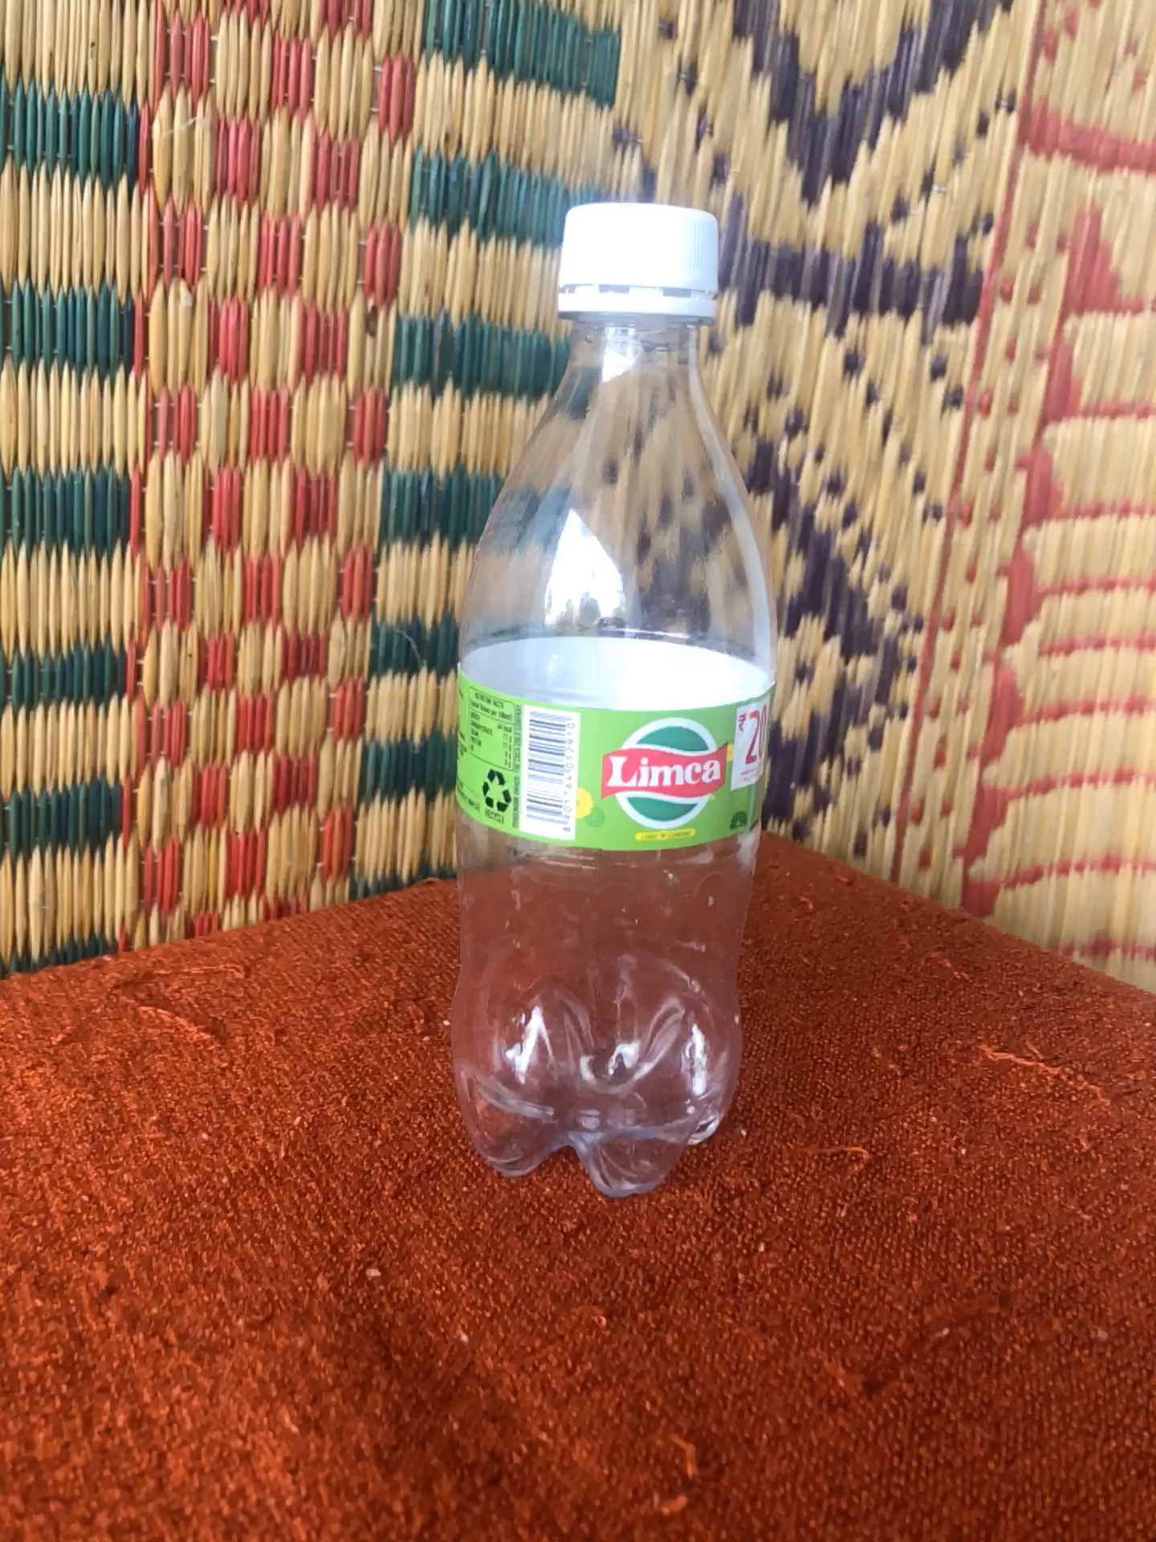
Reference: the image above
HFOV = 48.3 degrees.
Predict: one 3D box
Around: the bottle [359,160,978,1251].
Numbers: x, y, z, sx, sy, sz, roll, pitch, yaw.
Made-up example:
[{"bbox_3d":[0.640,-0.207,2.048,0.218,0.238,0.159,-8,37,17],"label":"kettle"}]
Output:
[{"bbox_3d":[0.007,-0.011,0.210,0.060,0.149,0.060,5,18,-2],"label":"bottle"}]
